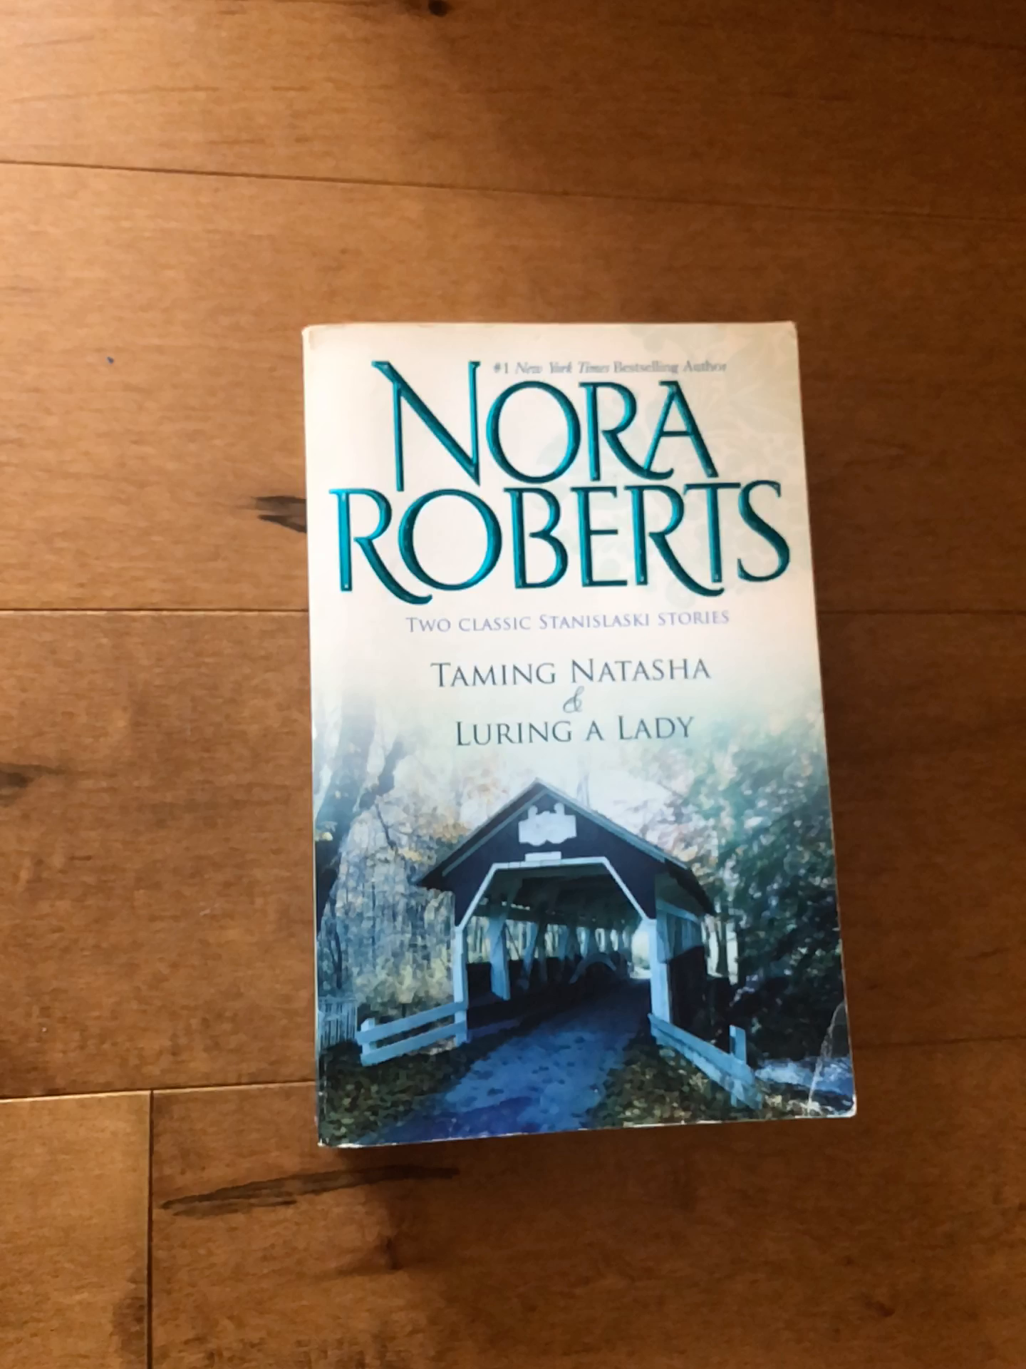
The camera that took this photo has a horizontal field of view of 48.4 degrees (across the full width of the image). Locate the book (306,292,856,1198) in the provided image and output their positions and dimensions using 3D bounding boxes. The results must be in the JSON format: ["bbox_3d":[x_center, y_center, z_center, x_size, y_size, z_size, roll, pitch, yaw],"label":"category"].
[{"bbox_3d":[0.014,0.010,0.306,0.130,0.040,0.220,-1,84,-8],"label":"book"}]
